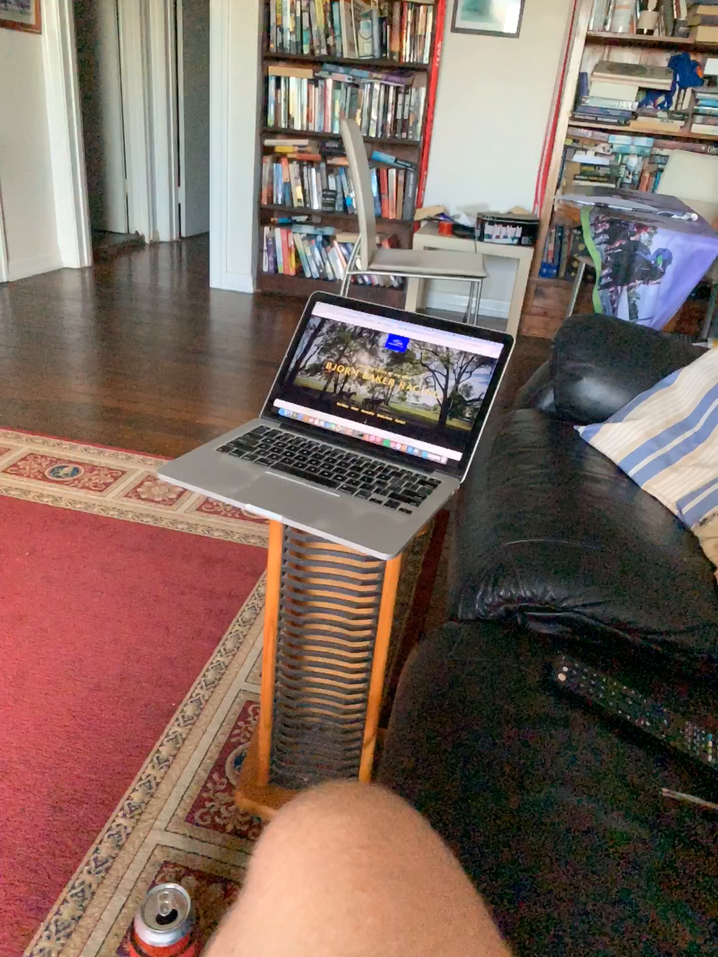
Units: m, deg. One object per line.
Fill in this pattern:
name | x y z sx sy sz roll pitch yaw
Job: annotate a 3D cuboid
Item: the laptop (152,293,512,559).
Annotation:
laptop | -0.020 -0.096 0.913 0.313 0.161 0.341 18 28 22
